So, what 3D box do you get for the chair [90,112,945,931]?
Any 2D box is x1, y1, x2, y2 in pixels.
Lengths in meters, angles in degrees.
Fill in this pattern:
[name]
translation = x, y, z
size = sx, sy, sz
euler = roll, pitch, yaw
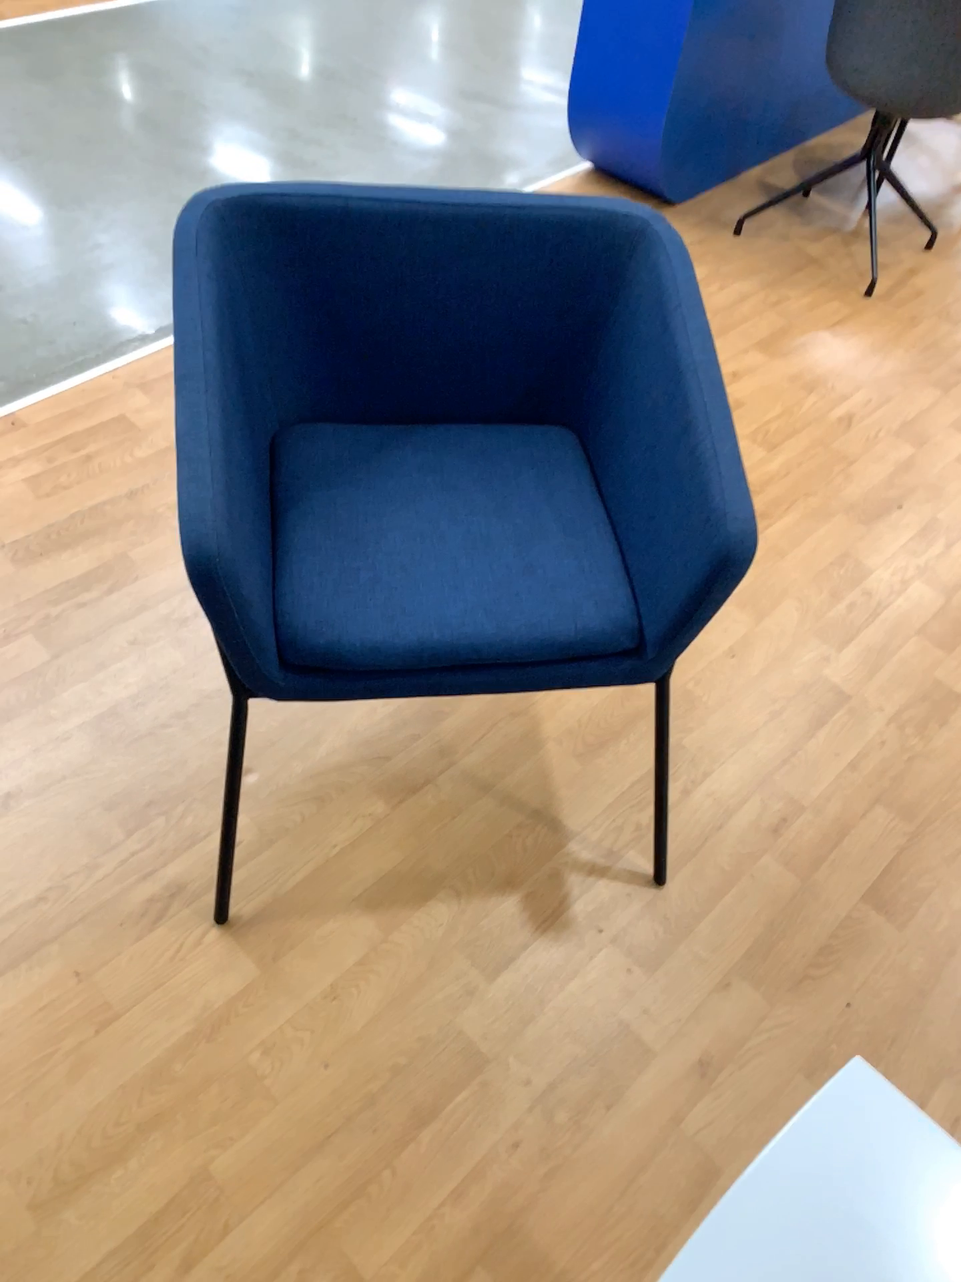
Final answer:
[chair]
translation = -0.034, -0.153, 1.278
size = 0.700, 0.685, 0.755
euler = -1, 49, -10
